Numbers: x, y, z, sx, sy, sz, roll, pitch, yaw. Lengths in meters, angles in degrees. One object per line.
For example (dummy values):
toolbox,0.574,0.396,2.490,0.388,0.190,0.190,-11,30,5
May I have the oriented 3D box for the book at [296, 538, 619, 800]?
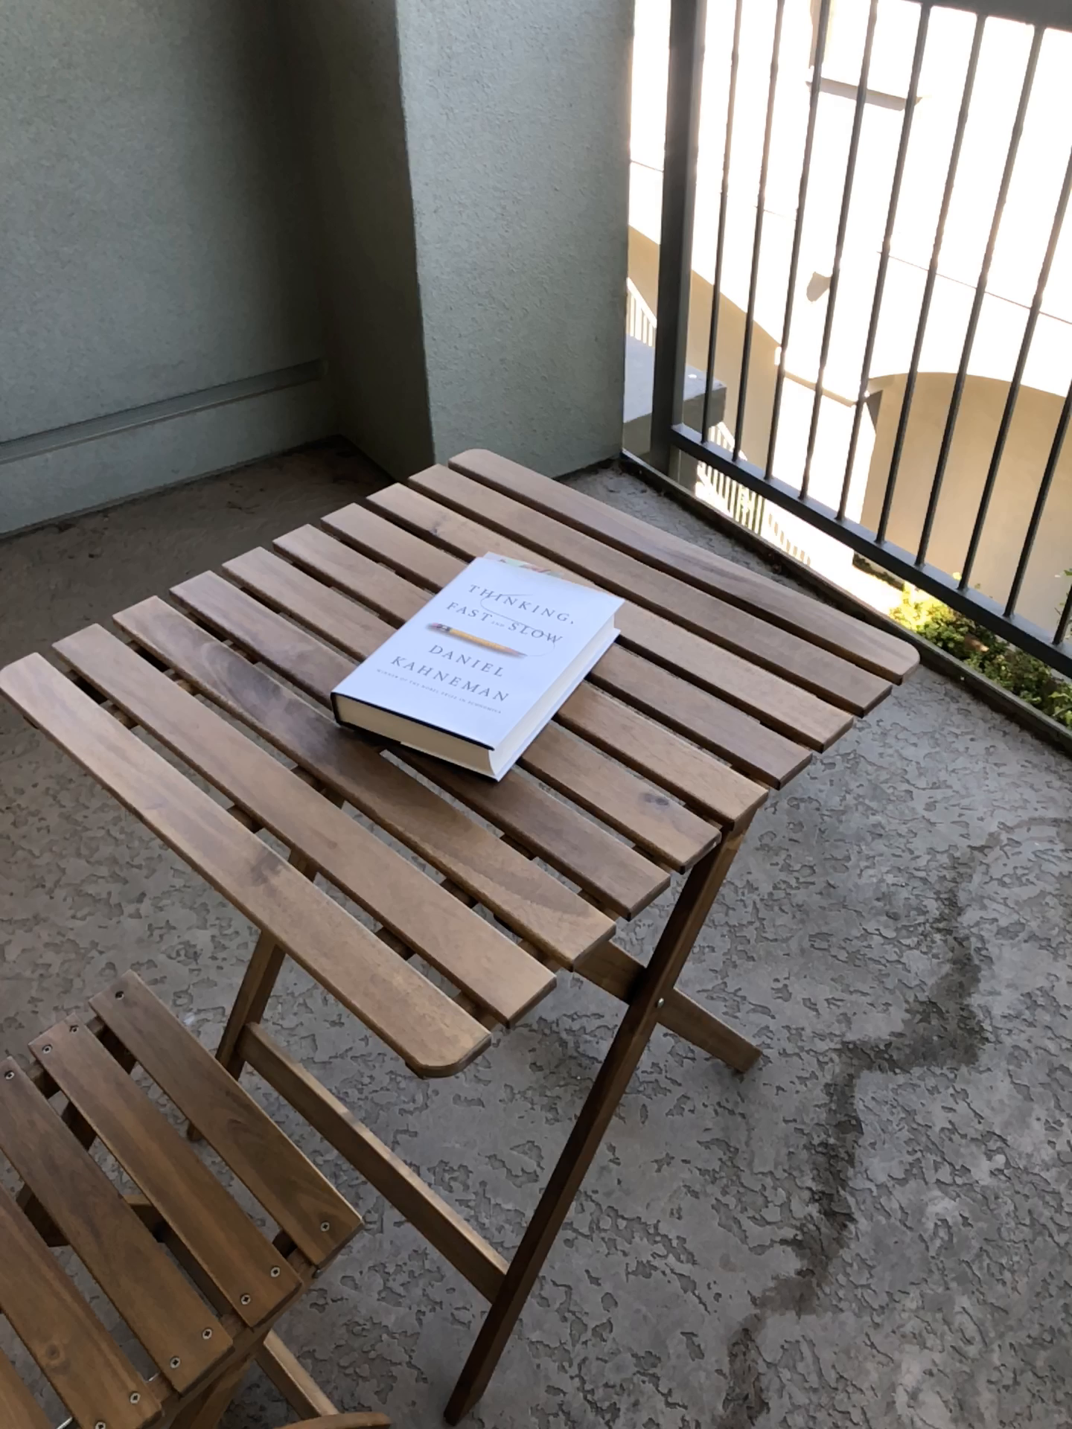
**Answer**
book,-0.060,-0.051,1.039,0.180,0.060,0.241,18,44,22
